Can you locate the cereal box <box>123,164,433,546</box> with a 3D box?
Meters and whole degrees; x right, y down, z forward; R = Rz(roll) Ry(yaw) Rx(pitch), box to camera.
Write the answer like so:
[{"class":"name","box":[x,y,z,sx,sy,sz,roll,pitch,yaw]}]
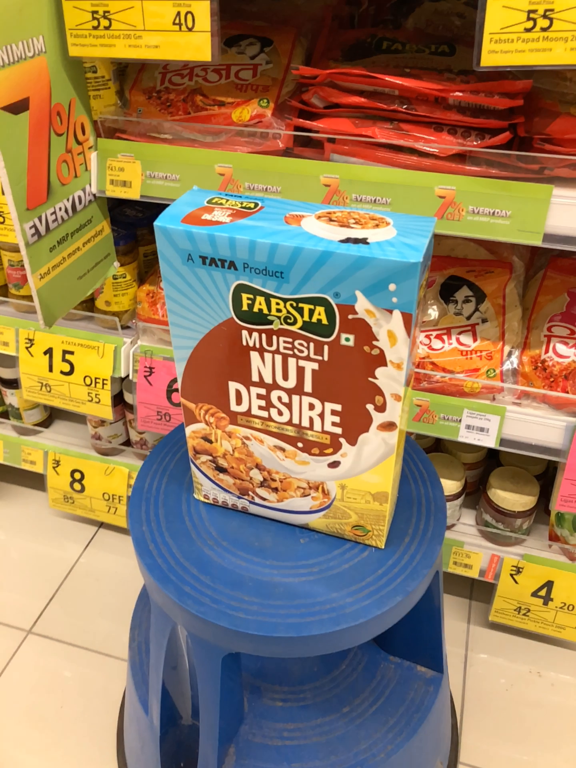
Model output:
[{"class":"cereal box","box":[-0.004,-0.012,0.450,0.170,0.248,0.070,11,39,14]}]
